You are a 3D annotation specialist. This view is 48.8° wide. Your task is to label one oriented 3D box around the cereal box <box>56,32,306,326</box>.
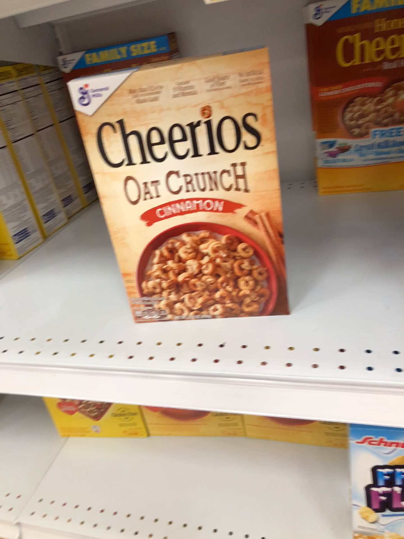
[{"bbox_3d":[-0.005,-0.071,0.468,0.200,0.279,0.050,-5,30,13],"label":"cereal box"}]
